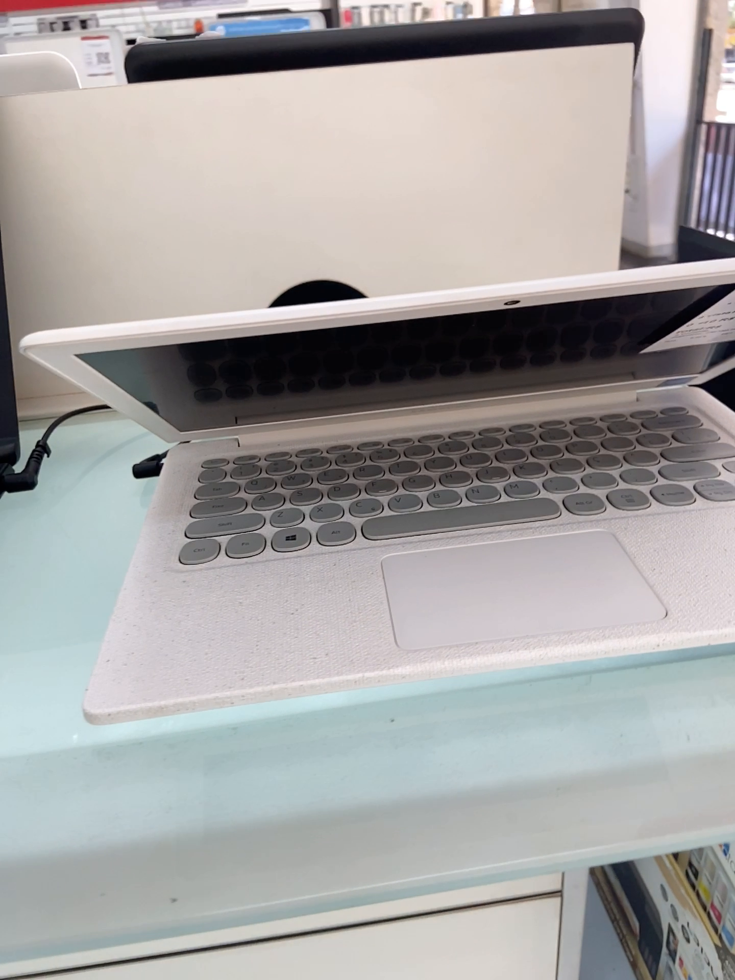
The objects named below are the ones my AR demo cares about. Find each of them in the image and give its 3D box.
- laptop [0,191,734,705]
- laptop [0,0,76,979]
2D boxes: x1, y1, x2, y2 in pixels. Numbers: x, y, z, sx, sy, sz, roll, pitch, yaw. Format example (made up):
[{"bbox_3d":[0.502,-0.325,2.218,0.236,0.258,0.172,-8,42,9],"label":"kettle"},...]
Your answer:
[{"bbox_3d":[0.044,-0.043,0.331,0.312,0.108,0.207,-7,28,-2],"label":"laptop"},{"bbox_3d":[-0.407,-0.062,0.335,0.400,0.213,0.375,-6,27,-2],"label":"laptop"}]
